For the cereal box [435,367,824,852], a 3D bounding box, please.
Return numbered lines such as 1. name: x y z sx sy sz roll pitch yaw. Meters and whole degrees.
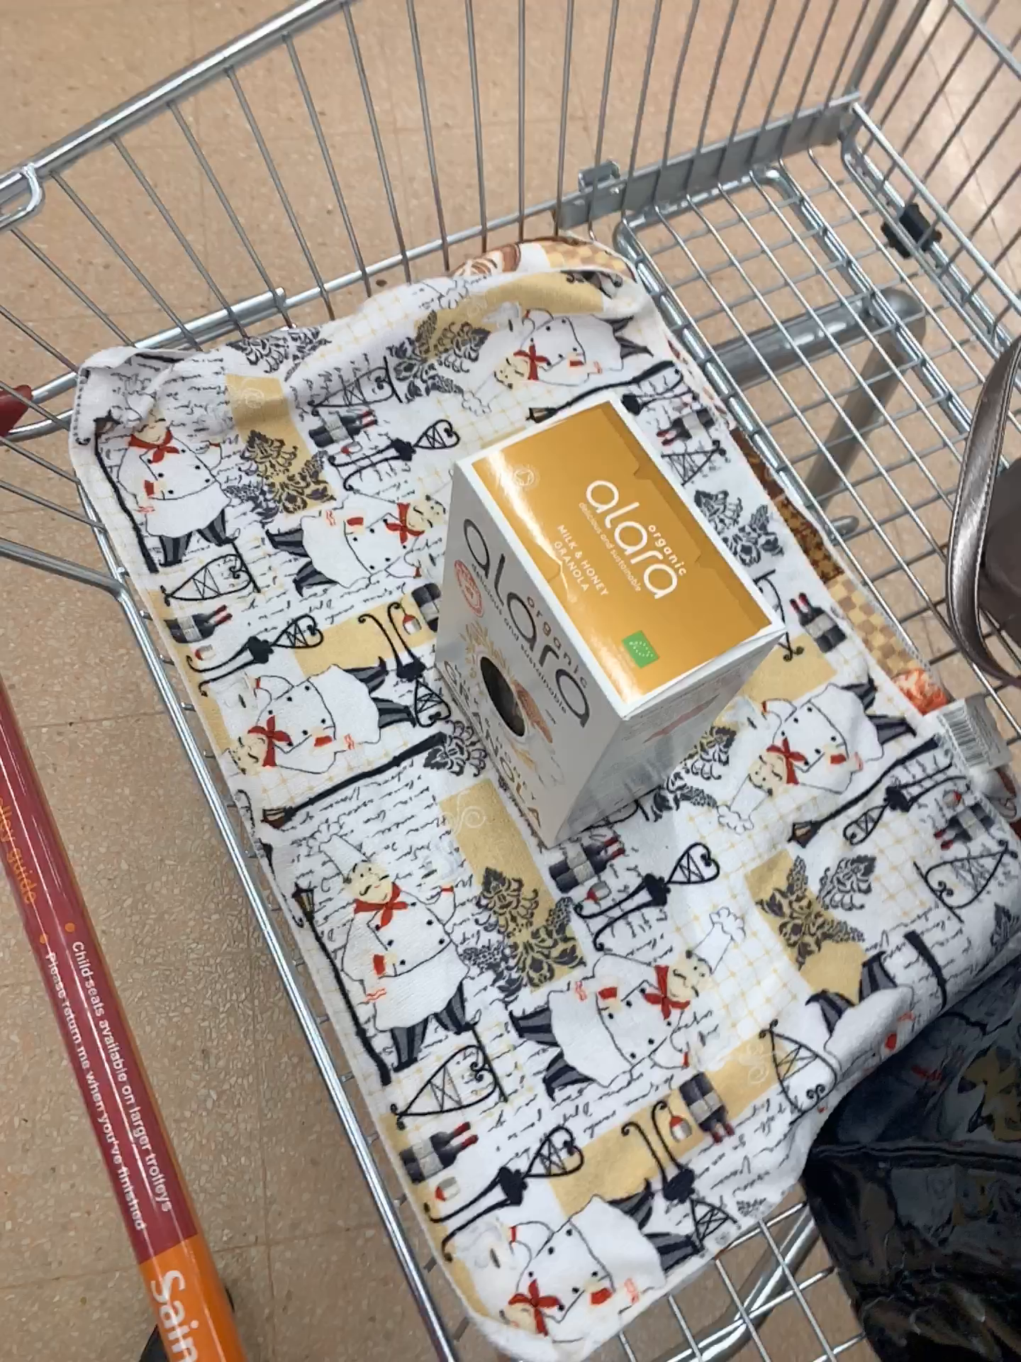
1. cereal box: 0.035 -0.017 0.465 0.080 0.199 0.120 -29 74 -16
